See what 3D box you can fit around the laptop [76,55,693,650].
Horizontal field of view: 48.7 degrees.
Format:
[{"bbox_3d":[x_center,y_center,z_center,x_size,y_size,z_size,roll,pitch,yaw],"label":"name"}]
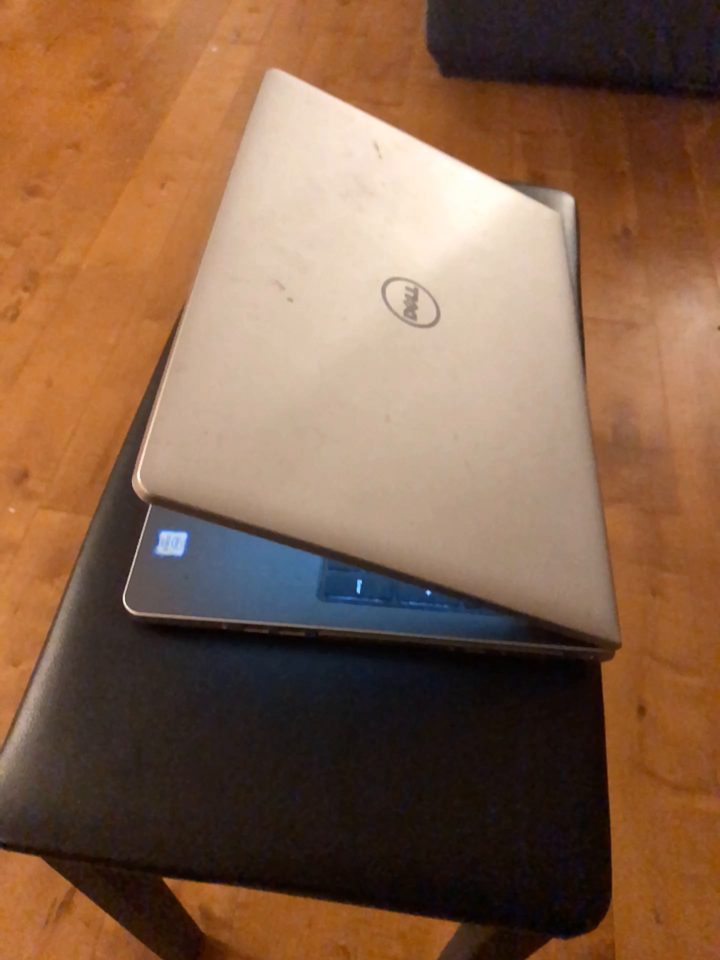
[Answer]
[{"bbox_3d":[0.022,-0.101,0.471,0.247,0.107,0.367,5,52,0],"label":"laptop"}]
